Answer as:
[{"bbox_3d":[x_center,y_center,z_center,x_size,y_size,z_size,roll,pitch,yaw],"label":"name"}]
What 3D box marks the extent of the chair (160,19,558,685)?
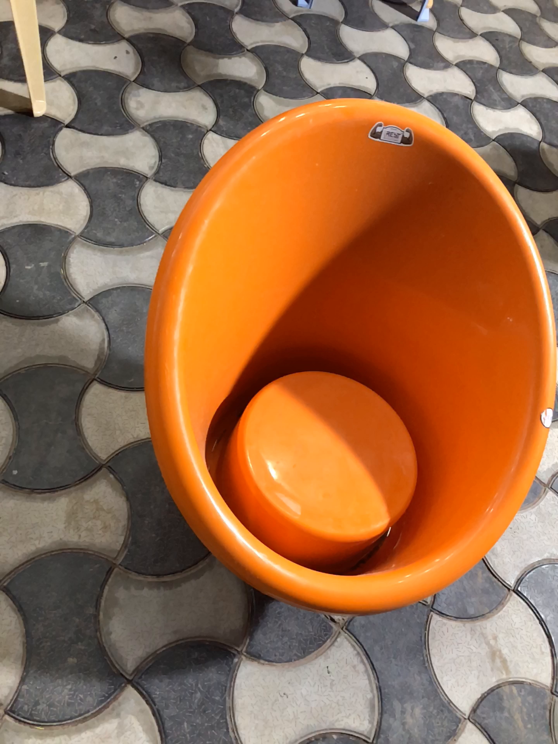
[{"bbox_3d":[0.173,0.024,0.974,0.661,0.666,0.723,3,56,-14],"label":"chair"}]
